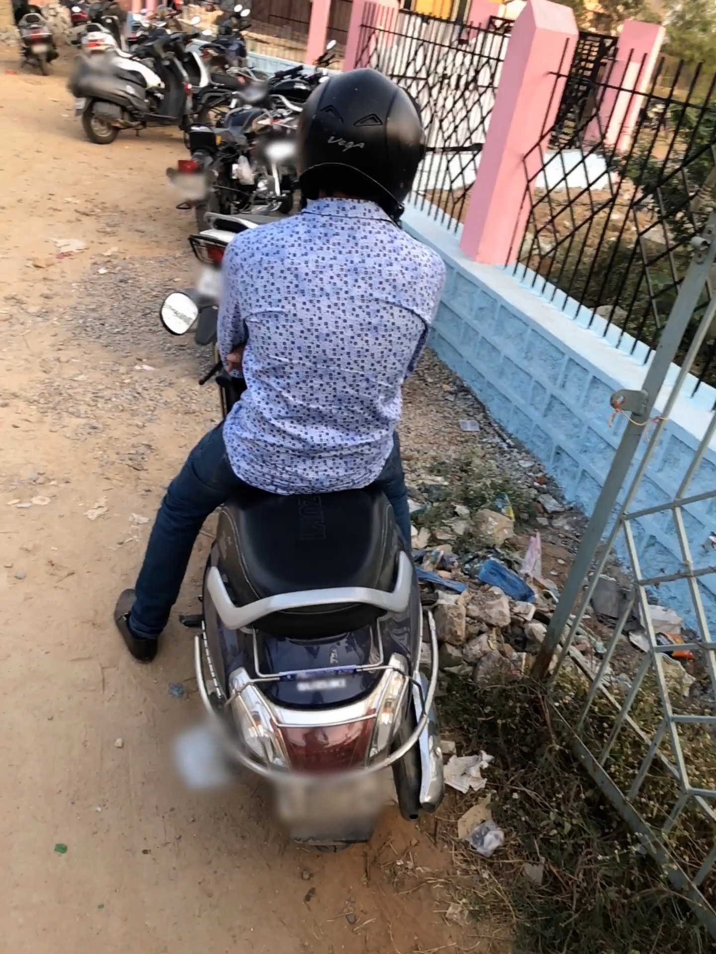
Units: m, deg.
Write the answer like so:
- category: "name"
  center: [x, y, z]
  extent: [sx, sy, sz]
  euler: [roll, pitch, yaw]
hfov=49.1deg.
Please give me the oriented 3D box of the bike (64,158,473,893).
- category: "bike"
  center: [-0.407, 0.024, 1.973]
  extent: [0.593, 1.013, 1.400]
  euler: [0, 37, -19]
